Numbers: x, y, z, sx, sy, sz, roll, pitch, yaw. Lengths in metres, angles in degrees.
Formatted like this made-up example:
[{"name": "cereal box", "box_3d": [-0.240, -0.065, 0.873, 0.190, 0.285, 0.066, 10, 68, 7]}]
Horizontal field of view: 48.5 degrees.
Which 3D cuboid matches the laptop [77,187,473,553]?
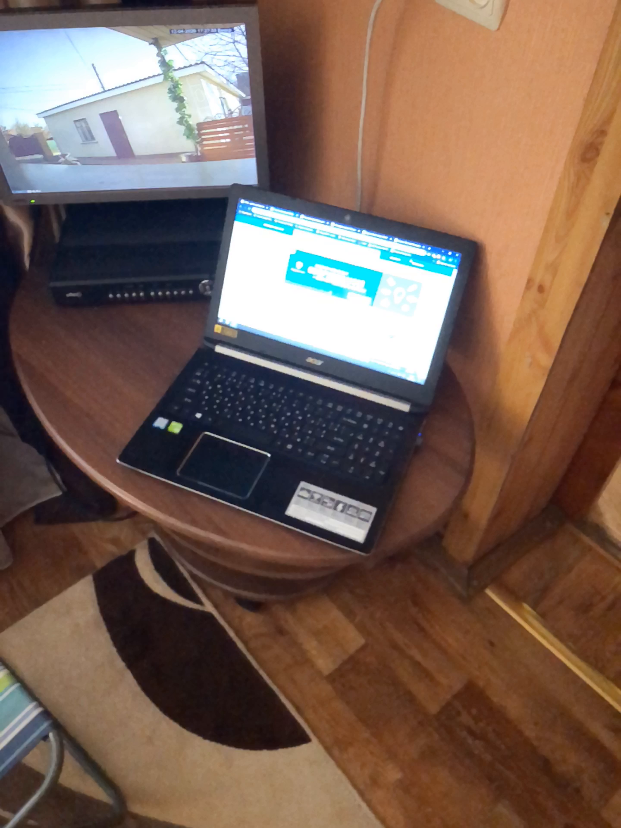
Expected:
[{"name": "laptop", "box_3d": [-0.024, -0.083, 0.944, 0.372, 0.186, 0.392, 18, 53, 14]}]
